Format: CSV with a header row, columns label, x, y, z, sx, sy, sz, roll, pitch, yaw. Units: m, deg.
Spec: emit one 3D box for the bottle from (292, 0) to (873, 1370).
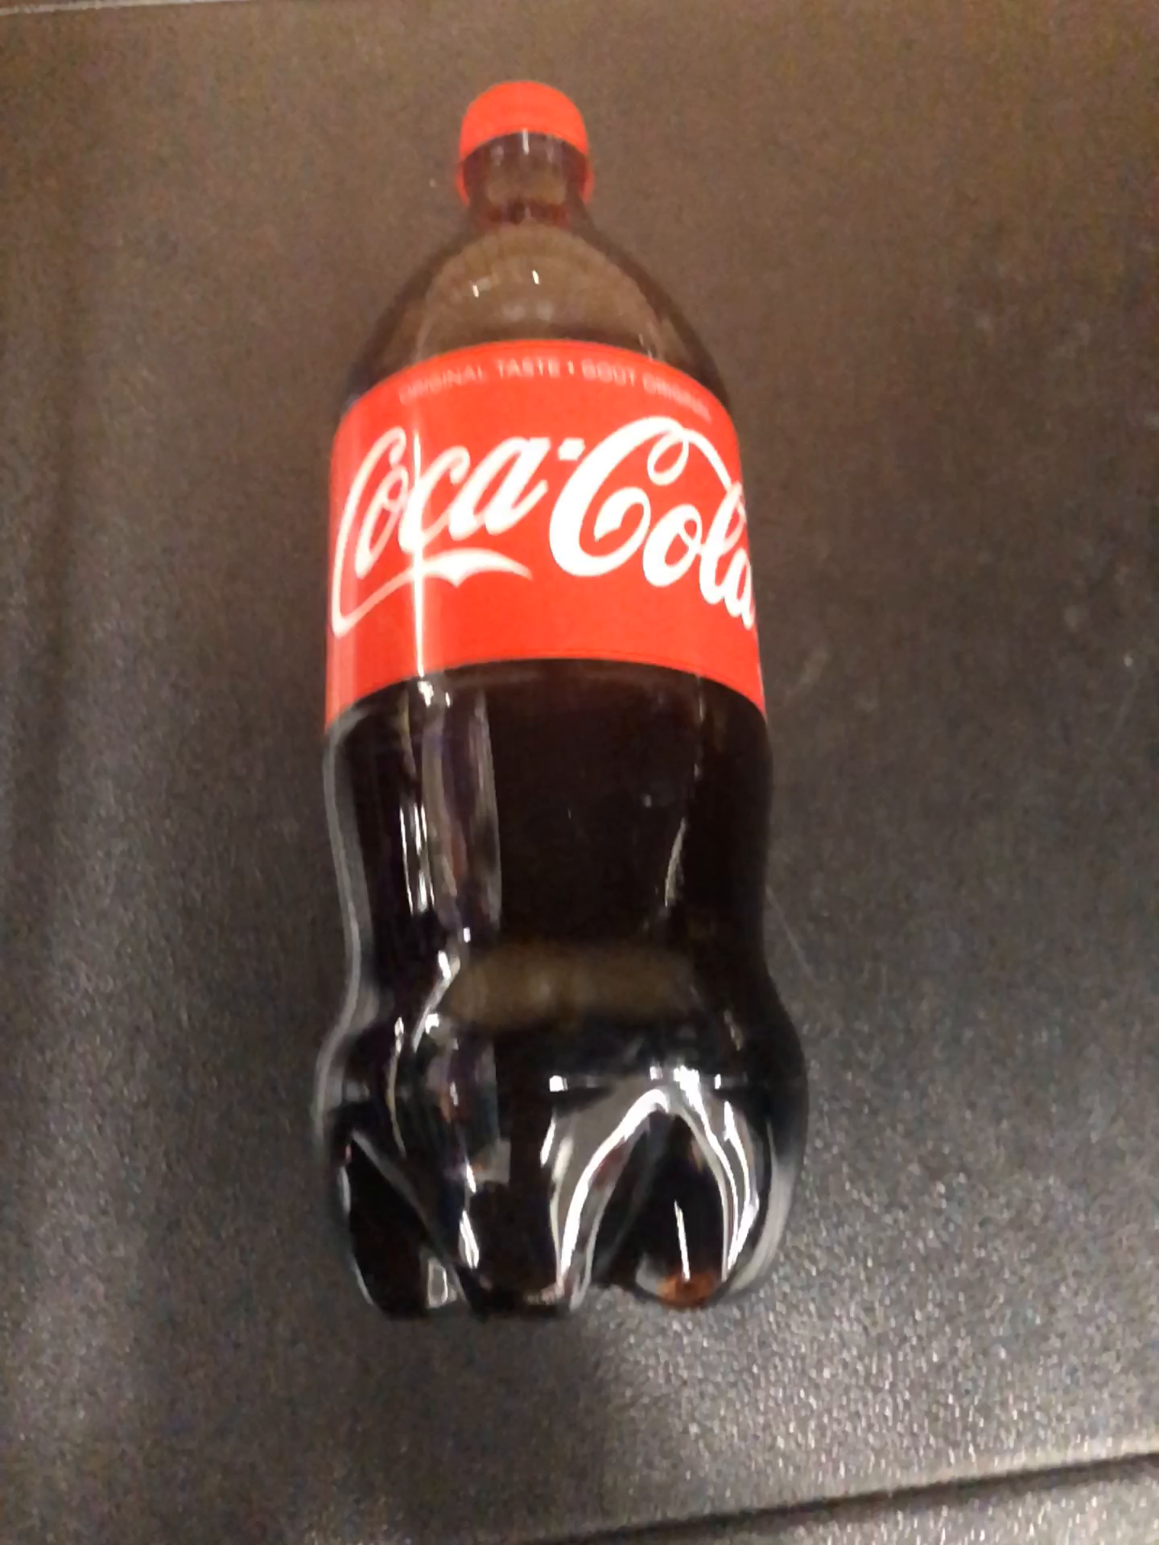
label,x,y,z,sx,sy,sz,roll,pitch,yaw
bottle,-0.008,-0.031,0.257,0.080,0.080,0.261,-2,71,-4
